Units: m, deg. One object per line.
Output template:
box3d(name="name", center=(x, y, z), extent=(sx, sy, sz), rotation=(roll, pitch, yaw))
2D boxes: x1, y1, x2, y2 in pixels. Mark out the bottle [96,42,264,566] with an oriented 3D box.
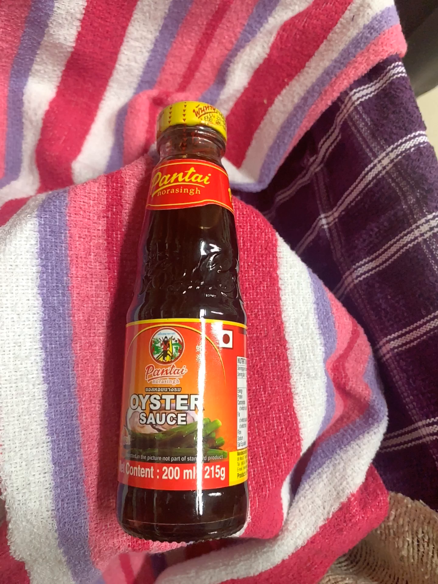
box3d(name="bottle", center=(-0.010, -0.001, 0.191), extent=(0.050, 0.050, 0.190), rotation=(-2, 77, 12))
